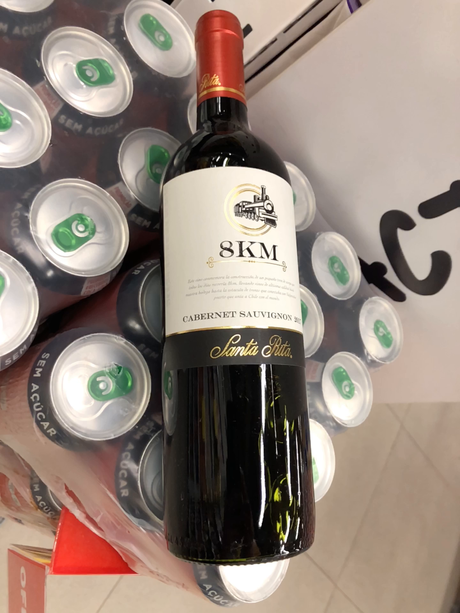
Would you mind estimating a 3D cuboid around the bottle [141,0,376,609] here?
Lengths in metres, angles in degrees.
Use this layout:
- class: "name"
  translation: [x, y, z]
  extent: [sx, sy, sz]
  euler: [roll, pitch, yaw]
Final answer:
- class: "bottle"
  translation: [0.006, -0.036, 0.270]
  extent: [0.080, 0.070, 0.320]
  euler: [7, 74, -37]
